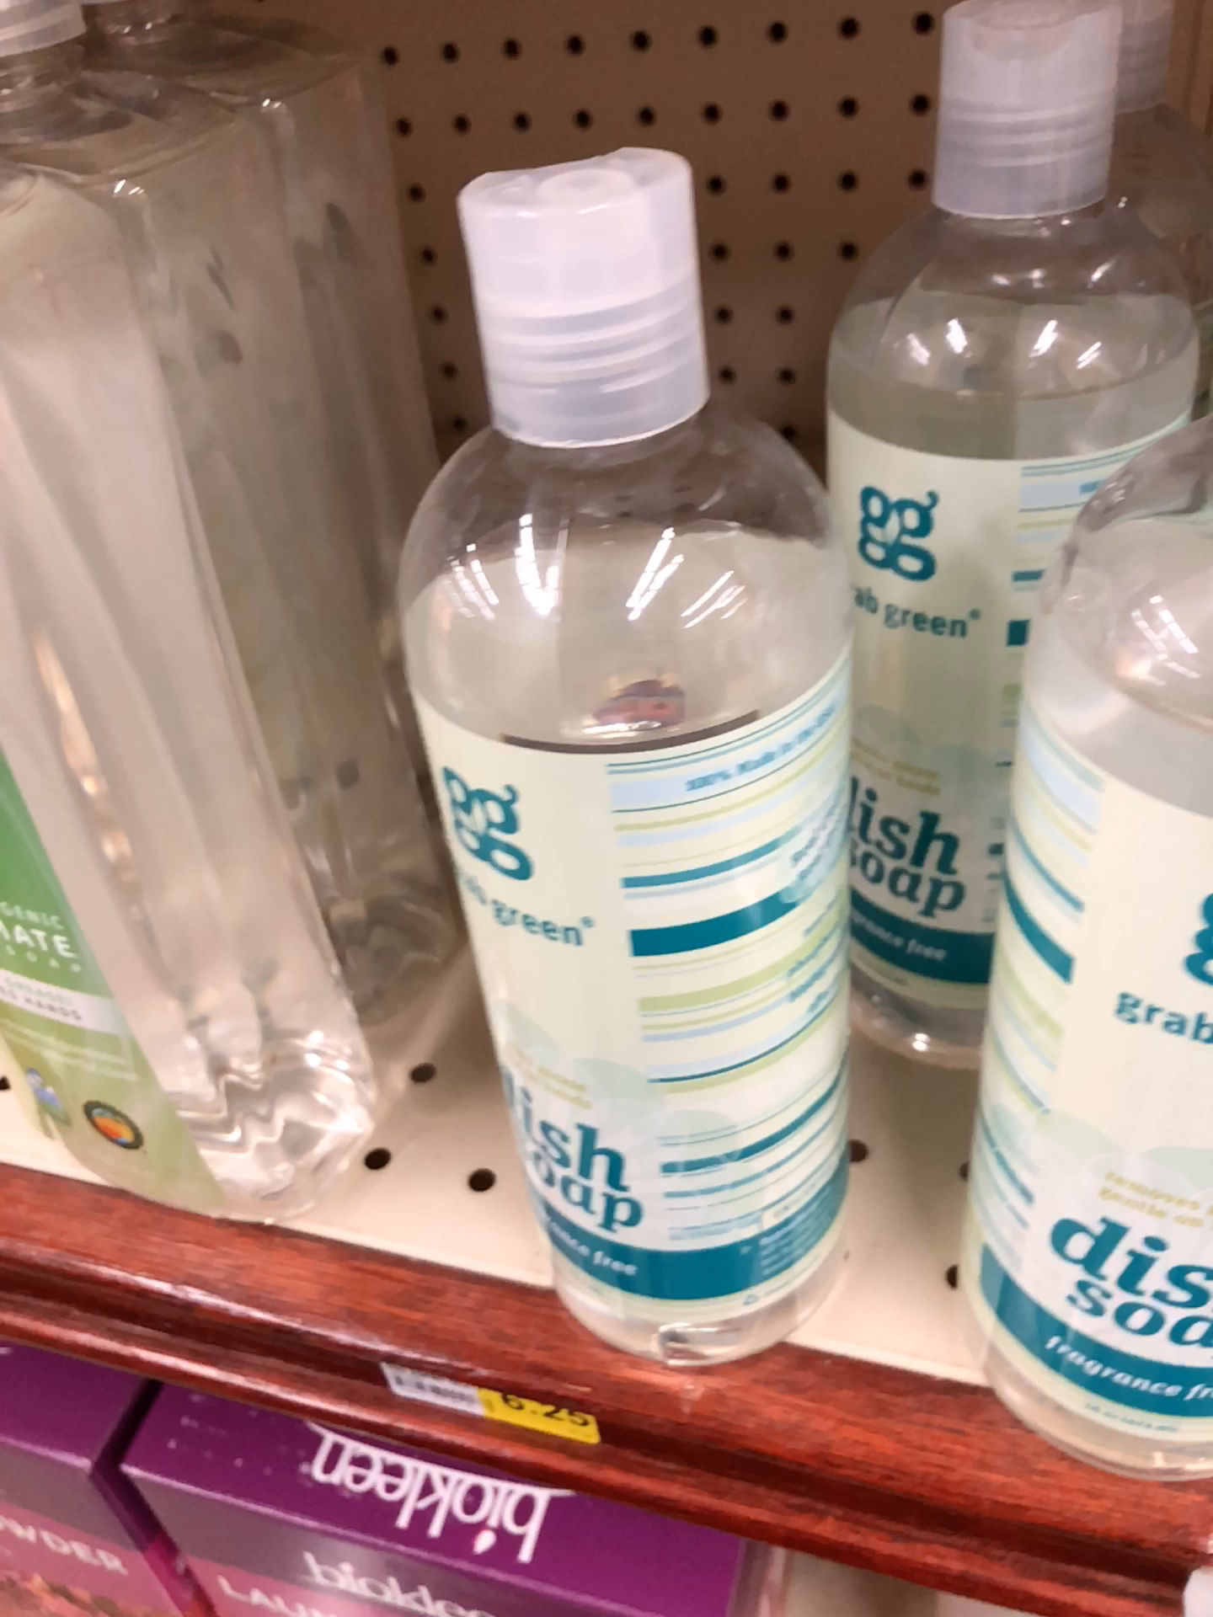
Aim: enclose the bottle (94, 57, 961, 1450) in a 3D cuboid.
[{"bbox_3d":[0.002,0.006,0.207,0.070,0.200,0.060,23,48,32],"label":"bottle"}]
